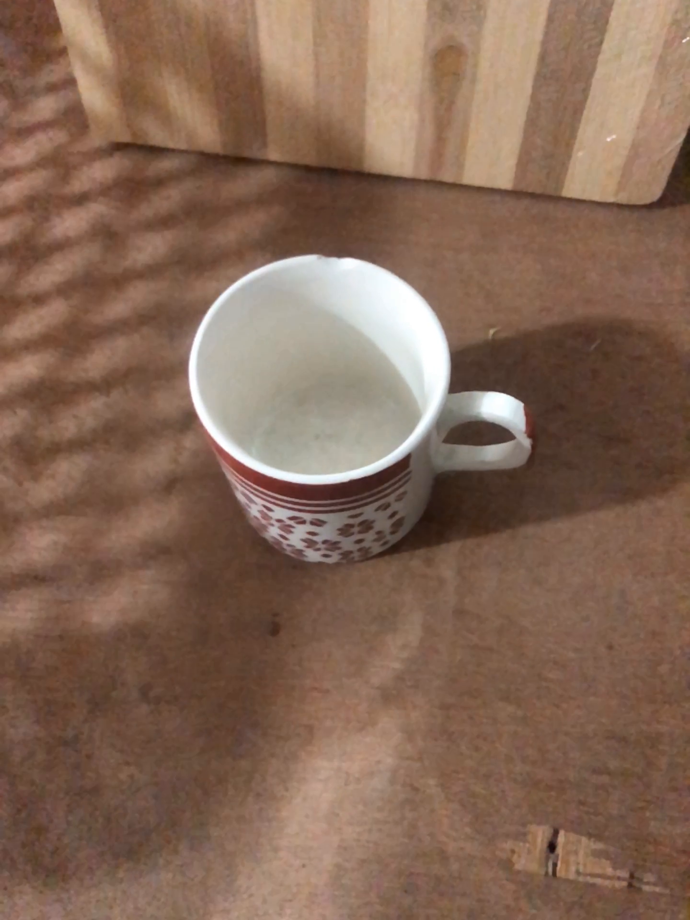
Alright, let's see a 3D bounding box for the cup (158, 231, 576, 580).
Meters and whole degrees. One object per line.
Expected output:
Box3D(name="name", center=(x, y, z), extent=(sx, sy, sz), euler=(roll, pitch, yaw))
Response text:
Box3D(name="cup", center=(0.007, -0.011, 0.213), extent=(0.090, 0.070, 0.070), euler=(1, 67, 4))
